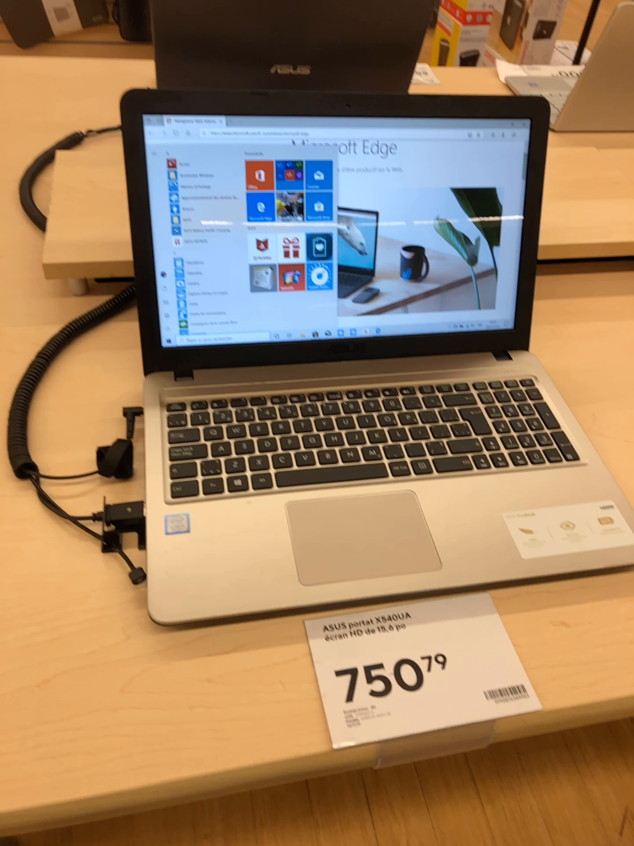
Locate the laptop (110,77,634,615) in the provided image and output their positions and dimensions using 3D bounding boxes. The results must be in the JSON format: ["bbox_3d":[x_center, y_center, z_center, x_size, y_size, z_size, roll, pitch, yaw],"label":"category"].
[{"bbox_3d":[0.047,-0.089,0.567,0.383,0.215,0.360,-5,47,-12],"label":"laptop"}]
